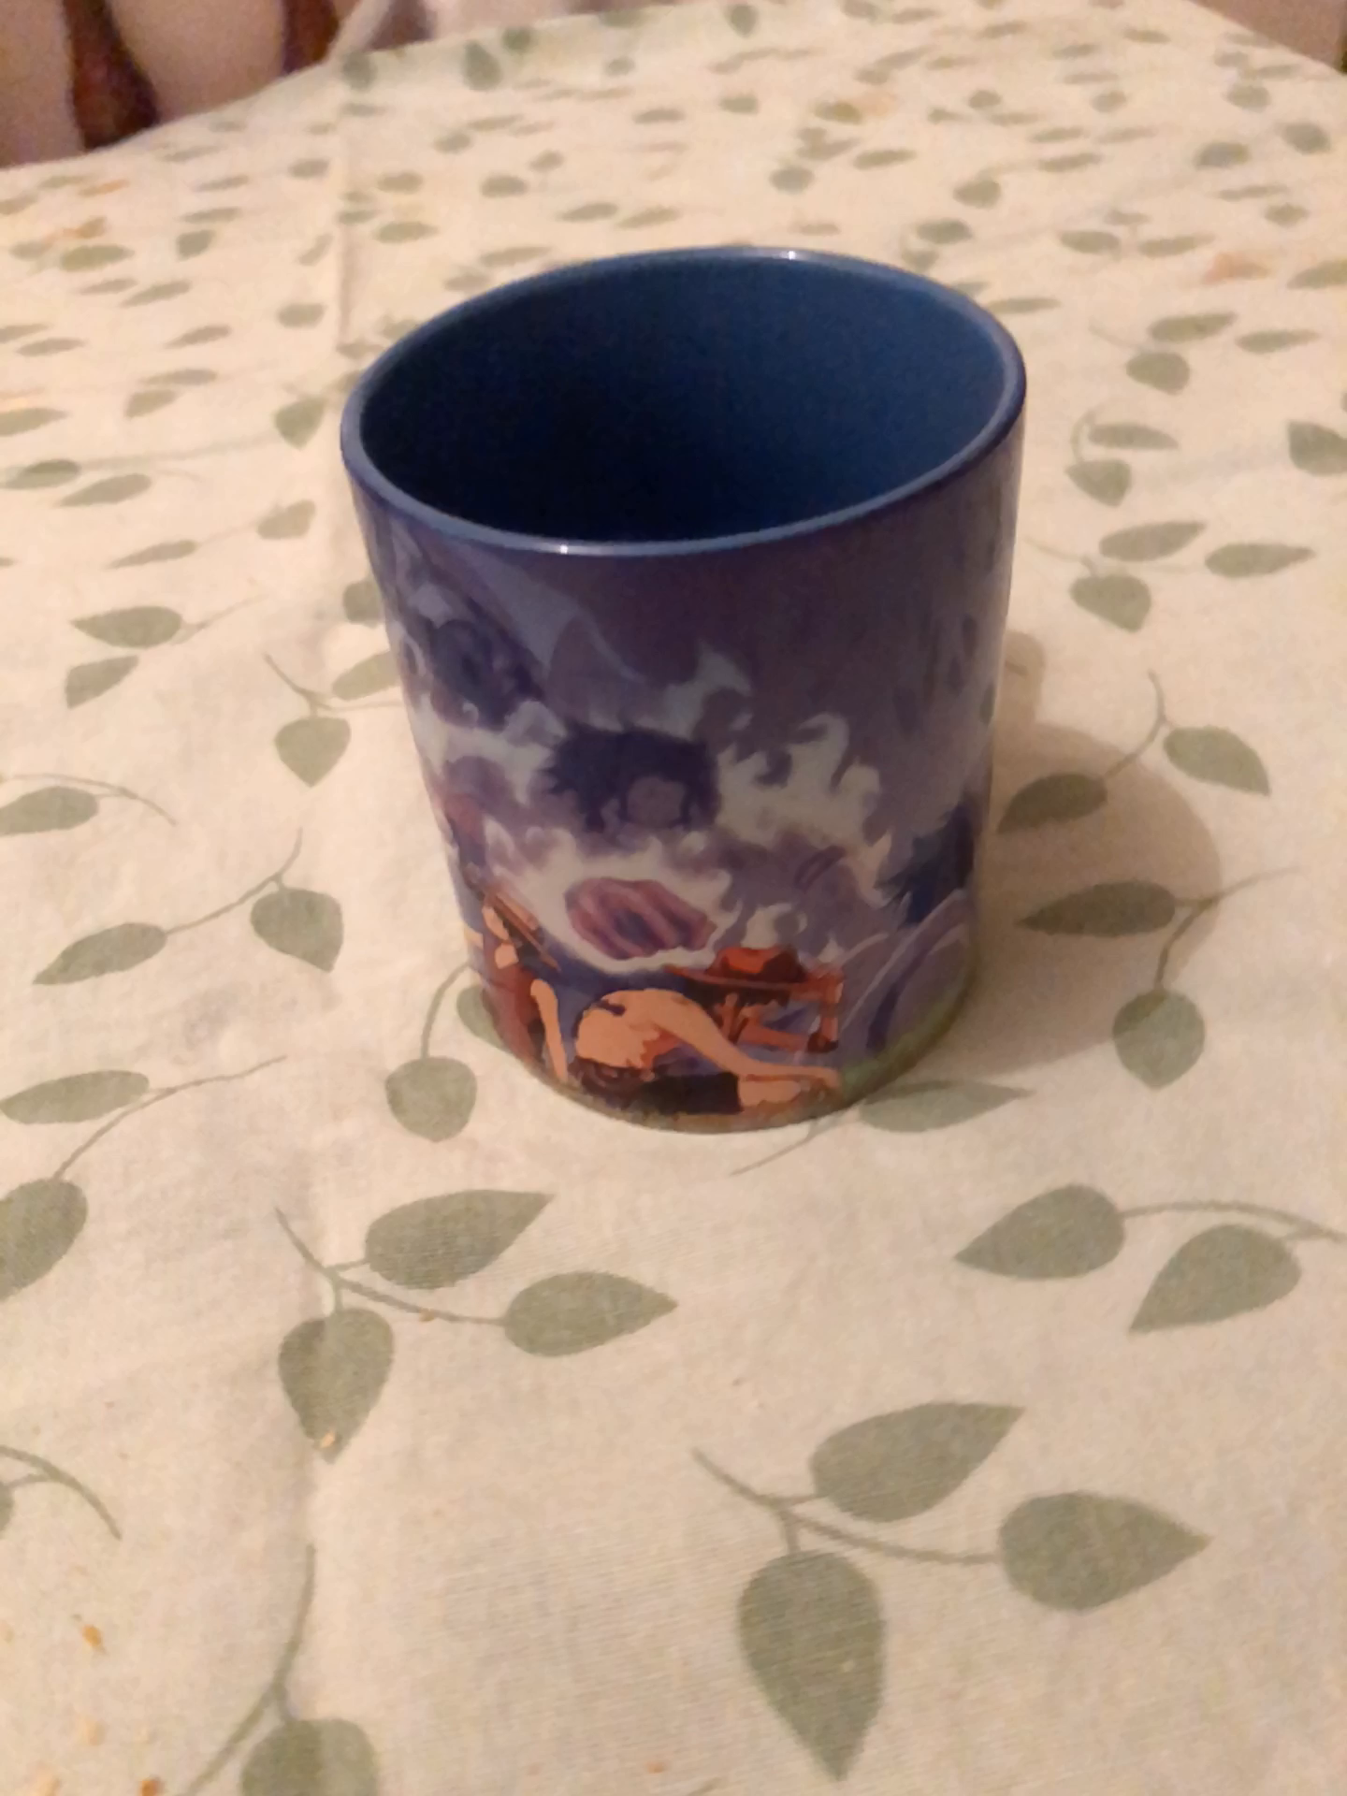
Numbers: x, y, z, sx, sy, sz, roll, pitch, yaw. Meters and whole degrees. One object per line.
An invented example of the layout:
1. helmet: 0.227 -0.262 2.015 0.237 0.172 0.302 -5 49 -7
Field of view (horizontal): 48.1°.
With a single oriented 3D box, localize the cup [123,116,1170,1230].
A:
1. cup: 0.009 -0.041 0.222 0.090 0.099 0.121 13 46 20
